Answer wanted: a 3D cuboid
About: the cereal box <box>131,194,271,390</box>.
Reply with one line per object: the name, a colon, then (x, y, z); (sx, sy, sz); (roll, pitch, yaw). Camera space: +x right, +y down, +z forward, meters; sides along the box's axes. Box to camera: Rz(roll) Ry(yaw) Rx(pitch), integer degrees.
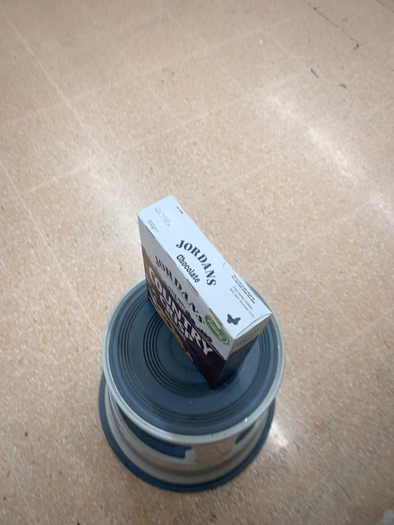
cereal box: (-0.005, 0.056, 0.533); (0.050, 0.248, 0.181); (-32, 68, -17)
